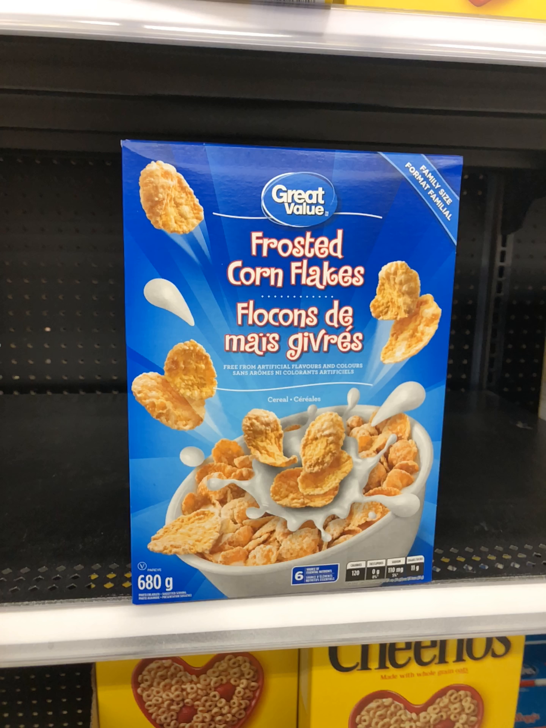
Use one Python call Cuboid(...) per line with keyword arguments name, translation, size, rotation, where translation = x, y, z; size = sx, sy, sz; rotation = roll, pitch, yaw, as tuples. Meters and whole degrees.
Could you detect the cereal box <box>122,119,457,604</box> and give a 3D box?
Cuboid(name="cereal box", translation=(0.004, 0.000, 0.437), size=(0.210, 0.309, 0.080), rotation=(-1, 11, -11))
